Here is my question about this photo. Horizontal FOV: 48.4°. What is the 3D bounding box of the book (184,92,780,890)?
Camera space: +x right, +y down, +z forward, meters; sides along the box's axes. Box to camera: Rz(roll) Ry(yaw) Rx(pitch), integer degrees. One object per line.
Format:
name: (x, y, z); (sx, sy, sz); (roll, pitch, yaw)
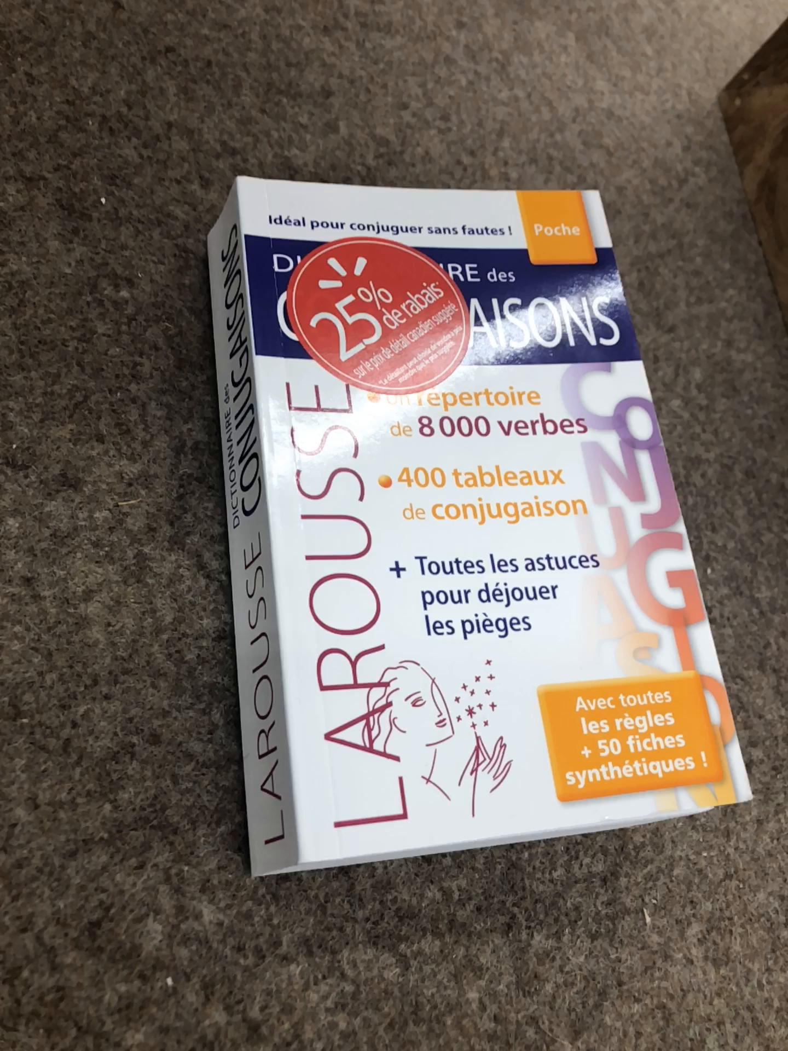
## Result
book: (0.012, -0.013, 0.250); (0.125, 0.059, 0.199); (2, 65, -24)
